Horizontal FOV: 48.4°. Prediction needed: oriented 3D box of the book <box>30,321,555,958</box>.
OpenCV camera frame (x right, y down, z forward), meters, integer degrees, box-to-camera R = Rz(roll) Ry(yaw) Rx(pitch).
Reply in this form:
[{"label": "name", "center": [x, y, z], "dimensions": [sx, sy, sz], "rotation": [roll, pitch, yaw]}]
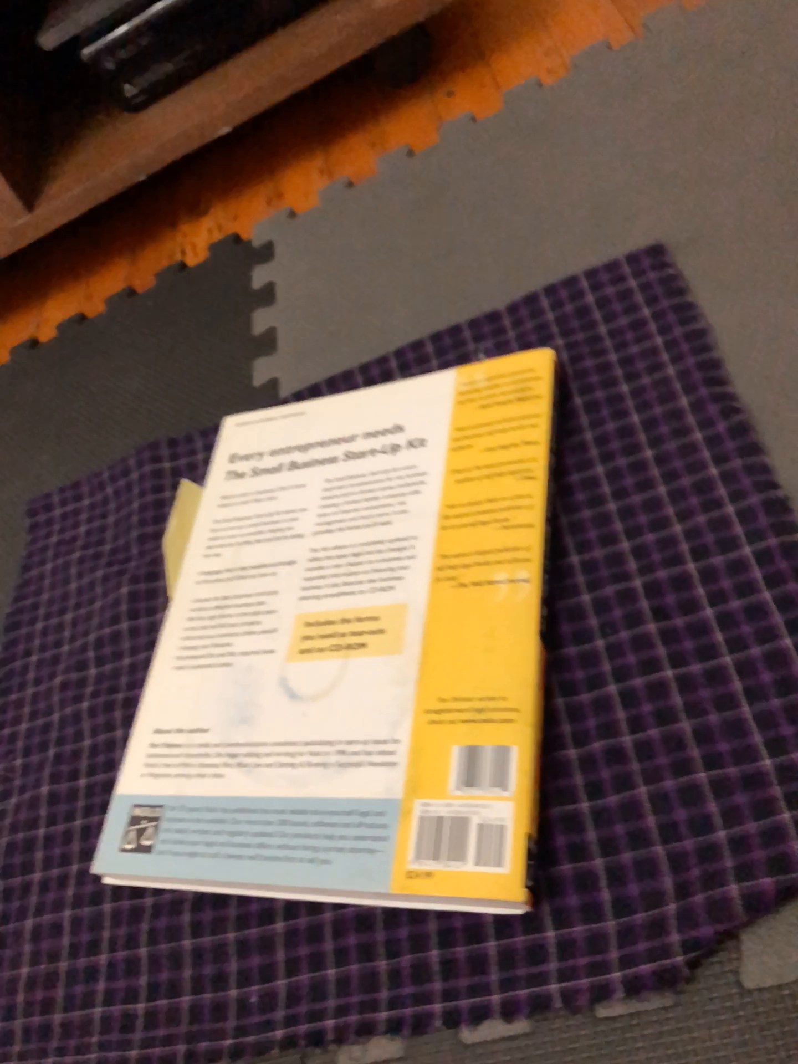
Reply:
[{"label": "book", "center": [-0.043, 0.037, 0.461], "dimensions": [0.230, 0.030, 0.311], "rotation": [-7, 55, 25]}]
